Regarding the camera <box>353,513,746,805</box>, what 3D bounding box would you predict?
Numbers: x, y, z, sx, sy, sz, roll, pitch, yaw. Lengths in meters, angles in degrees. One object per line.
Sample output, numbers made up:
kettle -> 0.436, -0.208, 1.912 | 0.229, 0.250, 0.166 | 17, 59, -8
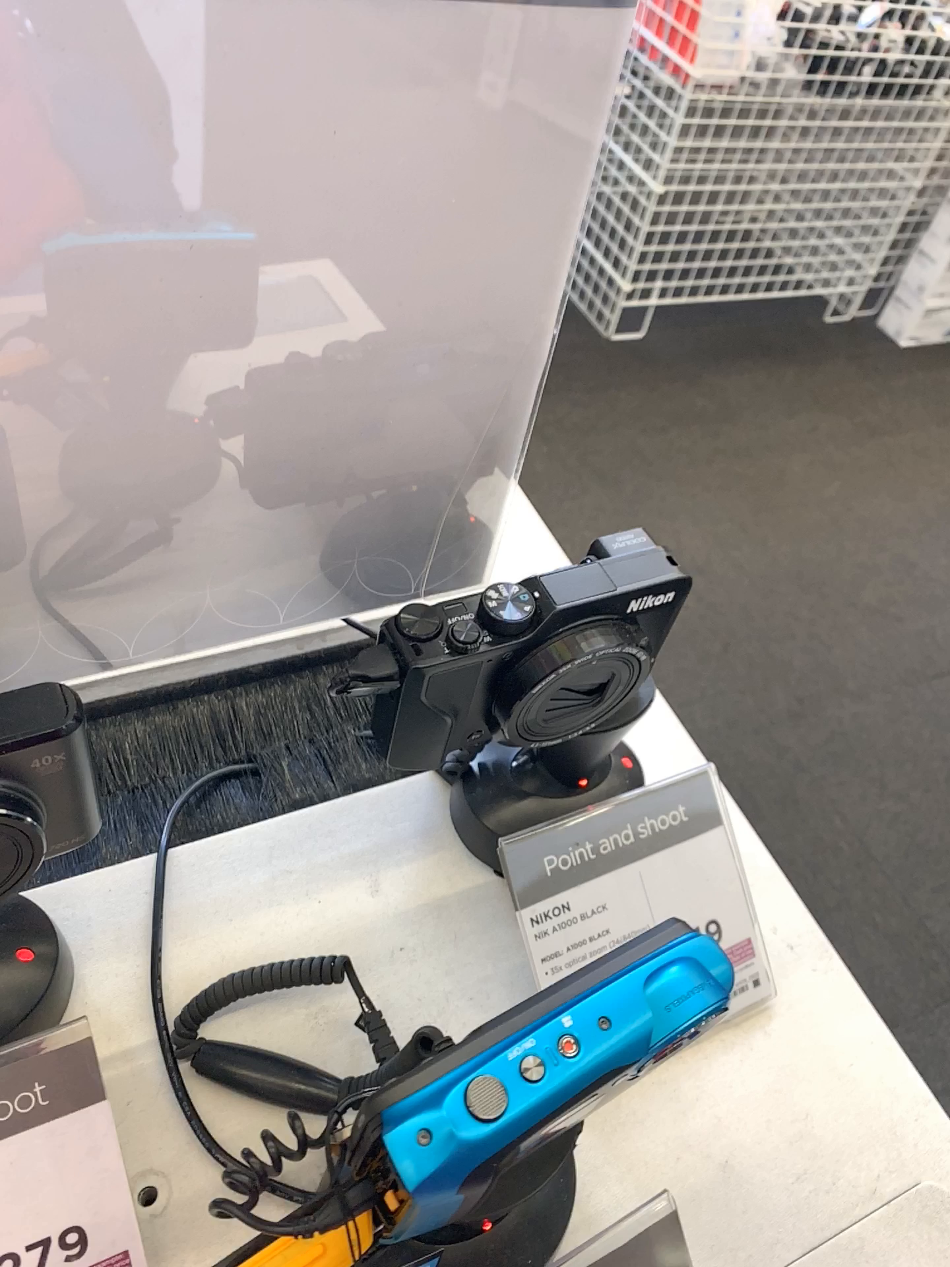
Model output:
camera -> 0.024, 0.008, 0.338 | 0.120, 0.079, 0.030 | -14, 53, -26
